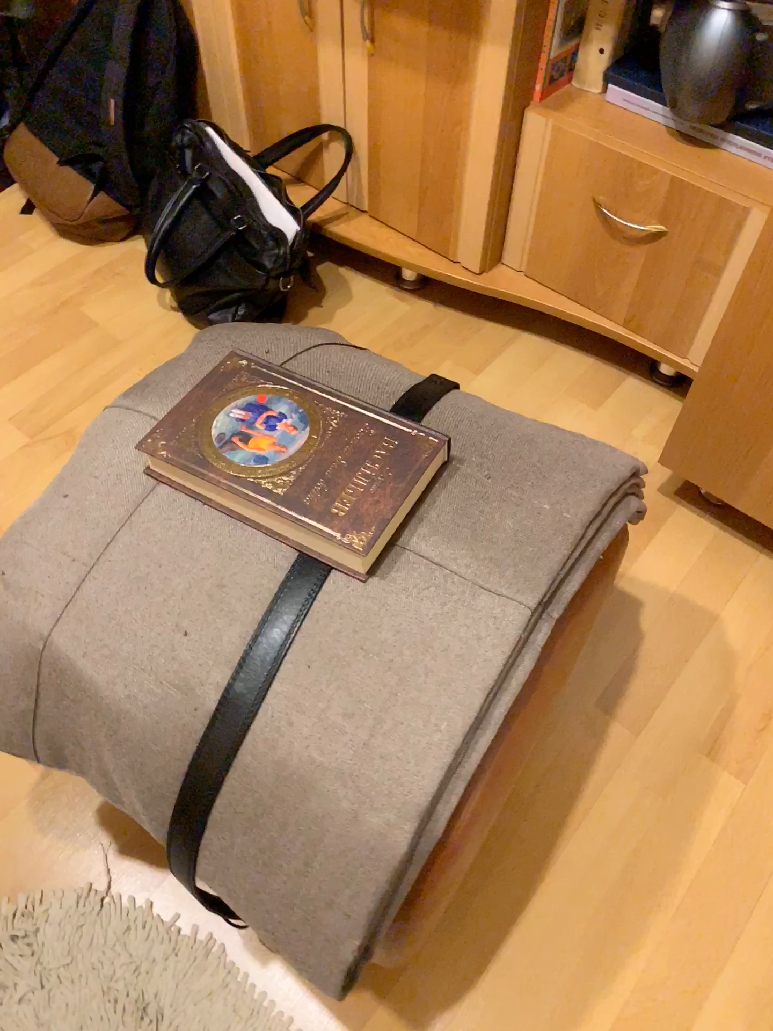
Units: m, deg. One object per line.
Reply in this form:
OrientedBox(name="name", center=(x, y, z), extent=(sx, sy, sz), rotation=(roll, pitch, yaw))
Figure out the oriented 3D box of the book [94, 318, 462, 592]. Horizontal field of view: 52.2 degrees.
OrientedBox(name="book", center=(-0.075, -0.054, 0.575), extent=(0.220, 0.050, 0.141), rotation=(22, 57, 21))
